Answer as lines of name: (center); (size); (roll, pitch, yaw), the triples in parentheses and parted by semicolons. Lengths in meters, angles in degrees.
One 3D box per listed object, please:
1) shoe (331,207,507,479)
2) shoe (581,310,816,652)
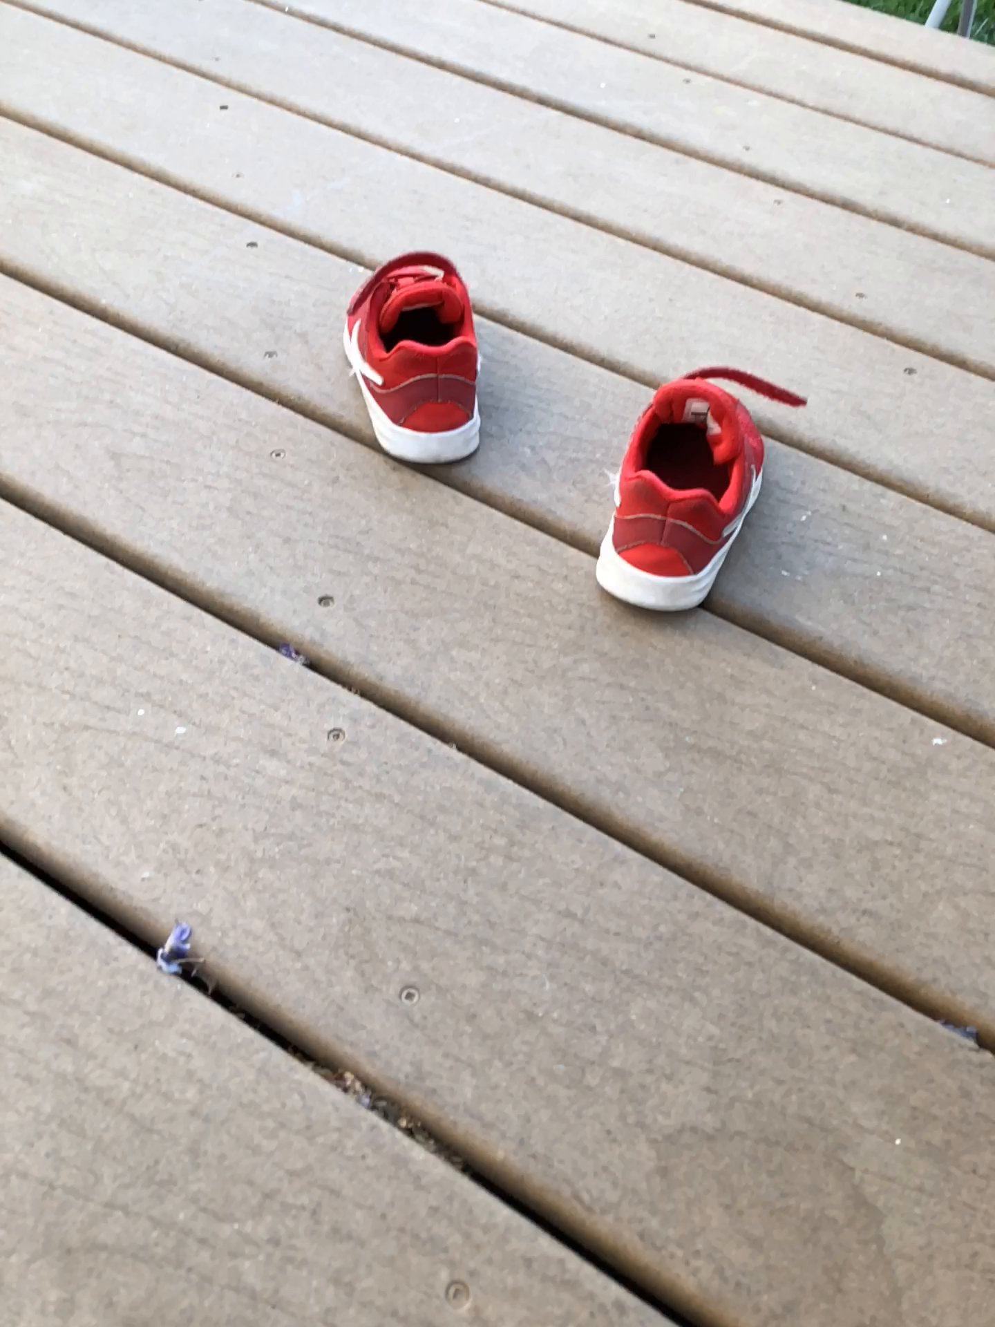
shoe: (-0.048, -0.181, 0.607); (0.073, 0.069, 0.153); (-5, 51, -11)
shoe: (0.103, -0.096, 0.548); (0.069, 0.069, 0.165); (18, 50, 9)
